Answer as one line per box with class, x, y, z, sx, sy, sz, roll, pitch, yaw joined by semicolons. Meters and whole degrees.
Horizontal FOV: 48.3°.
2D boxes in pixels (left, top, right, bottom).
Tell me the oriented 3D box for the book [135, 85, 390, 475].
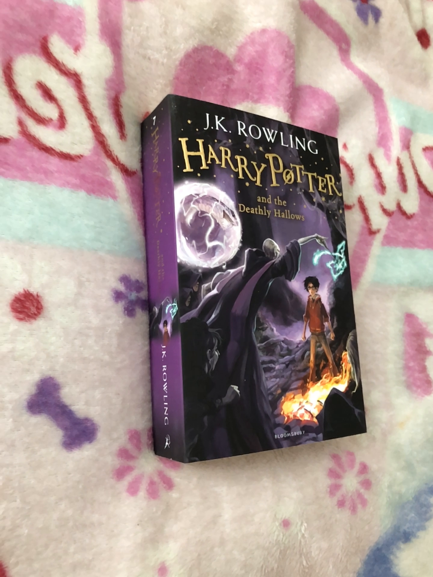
book;0.025;-0.003;0.285;0.126;0.060;0.187;2;80;-30
